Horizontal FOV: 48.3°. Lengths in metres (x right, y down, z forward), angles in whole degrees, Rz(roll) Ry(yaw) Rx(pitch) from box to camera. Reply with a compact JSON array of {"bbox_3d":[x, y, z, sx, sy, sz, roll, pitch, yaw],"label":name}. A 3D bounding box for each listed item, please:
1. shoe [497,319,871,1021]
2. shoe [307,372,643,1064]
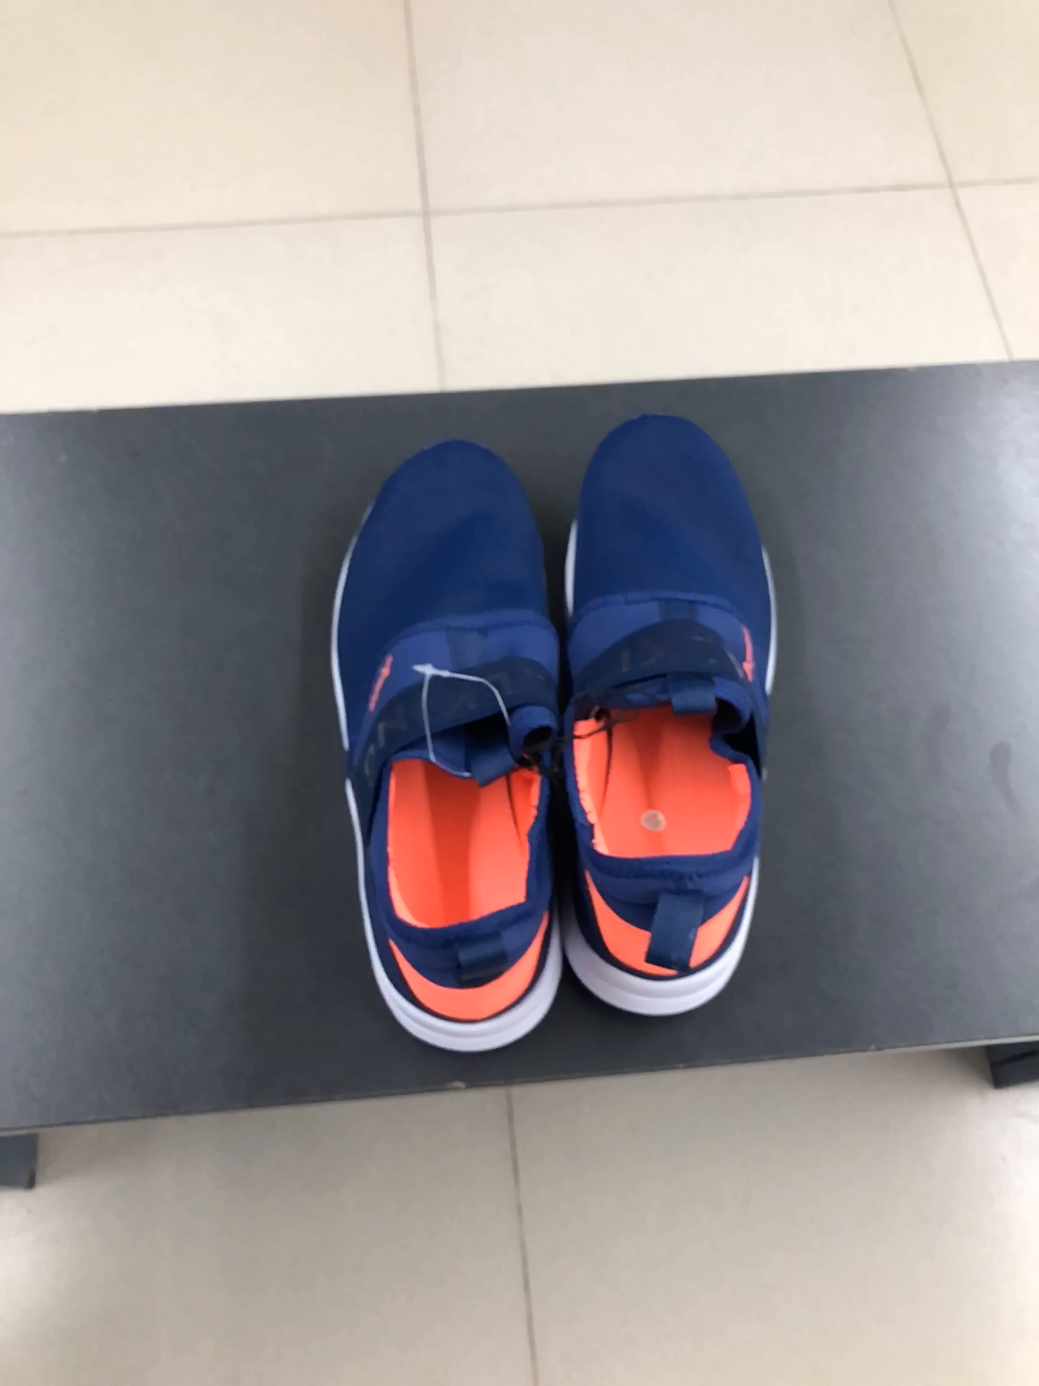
[{"bbox_3d":[0.058,-0.008,0.447,0.110,0.120,0.241,1,66,5],"label":"shoe"},{"bbox_3d":[-0.023,0.010,0.486,0.110,0.120,0.261,-2,66,-3],"label":"shoe"}]
